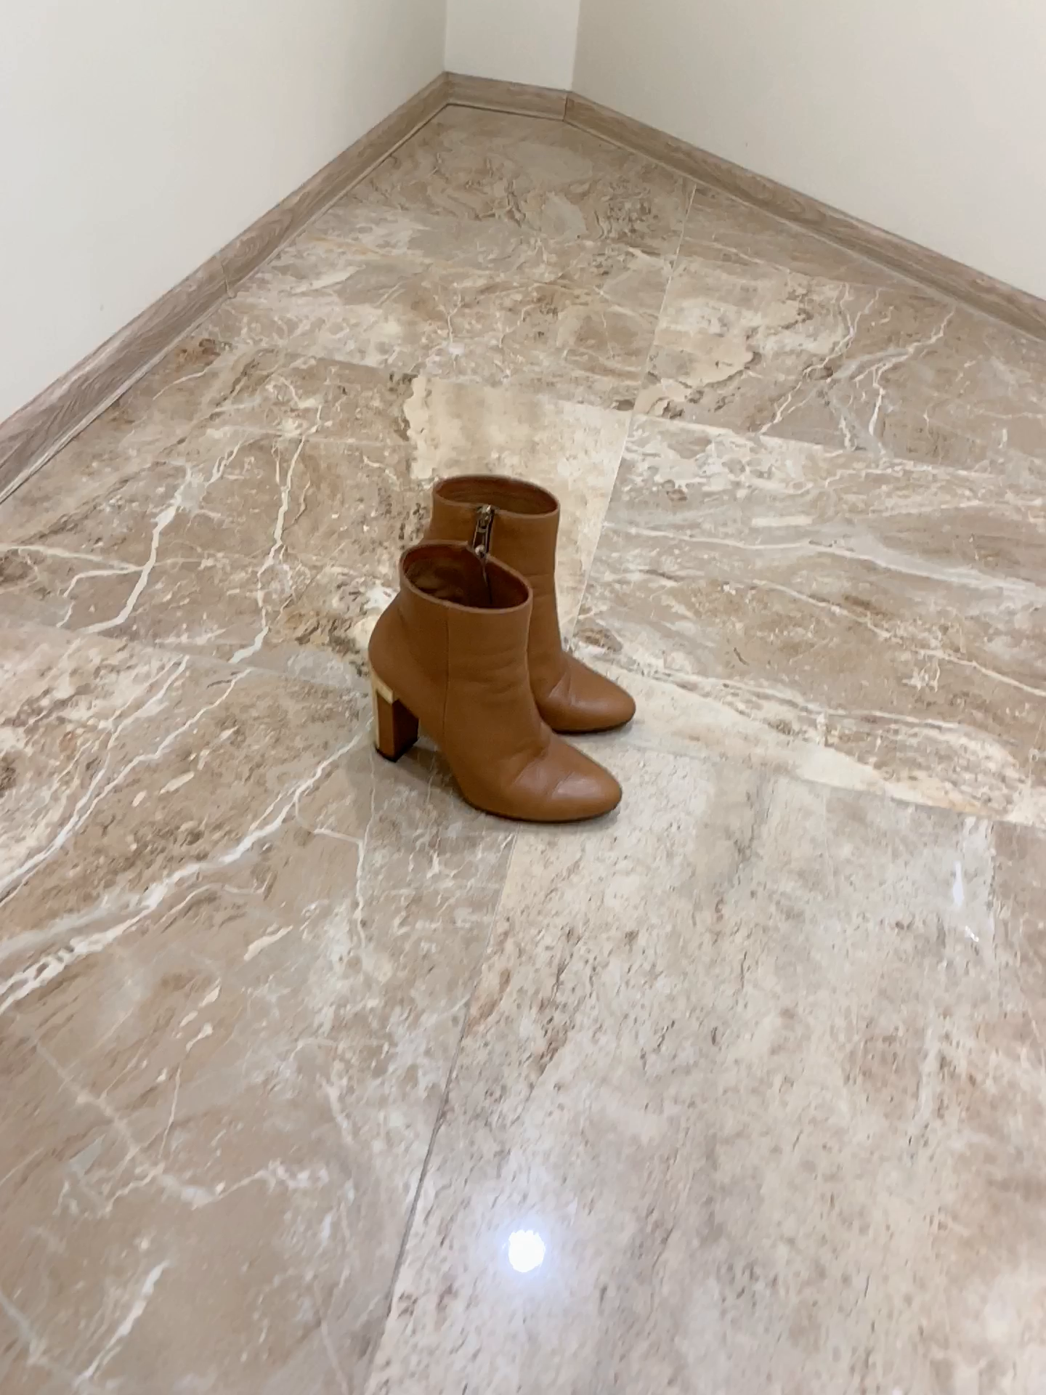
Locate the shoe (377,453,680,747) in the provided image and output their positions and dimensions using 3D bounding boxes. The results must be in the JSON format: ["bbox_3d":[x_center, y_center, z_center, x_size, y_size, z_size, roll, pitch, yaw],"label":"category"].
[{"bbox_3d":[0.000,-0.075,0.847,0.210,0.175,0.091,11,41,5],"label":"shoe"}]

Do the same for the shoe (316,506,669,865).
[{"bbox_3d":[-0.028,-0.008,0.778,0.220,0.185,0.090,19,42,13],"label":"shoe"}]
